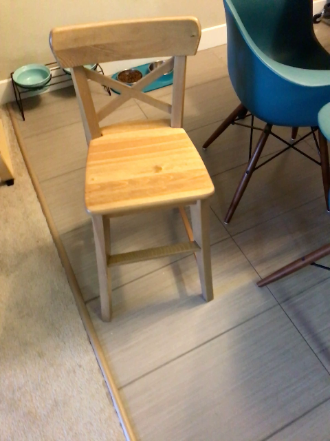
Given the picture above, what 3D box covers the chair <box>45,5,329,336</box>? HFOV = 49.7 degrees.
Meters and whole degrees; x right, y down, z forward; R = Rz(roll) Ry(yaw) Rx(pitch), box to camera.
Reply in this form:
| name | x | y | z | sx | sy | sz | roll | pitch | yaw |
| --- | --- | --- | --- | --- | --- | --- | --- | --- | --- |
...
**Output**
| name | x | y | z | sx | sy | sz | roll | pitch | yaw |
| --- | --- | --- | --- | --- | --- | --- | --- | --- | --- |
| chair | -0.006 | -0.083 | 0.959 | 0.440 | 0.686 | 0.492 | -9 | 56 | -9 |
